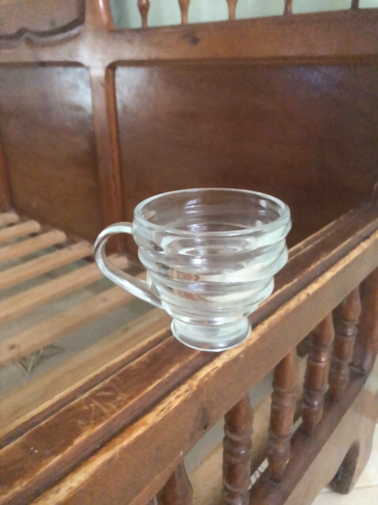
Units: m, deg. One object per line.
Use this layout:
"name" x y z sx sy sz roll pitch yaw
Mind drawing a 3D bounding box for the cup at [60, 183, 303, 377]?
"cup" 0.002 0.007 0.227 0.106 0.065 0.076 6 24 16
